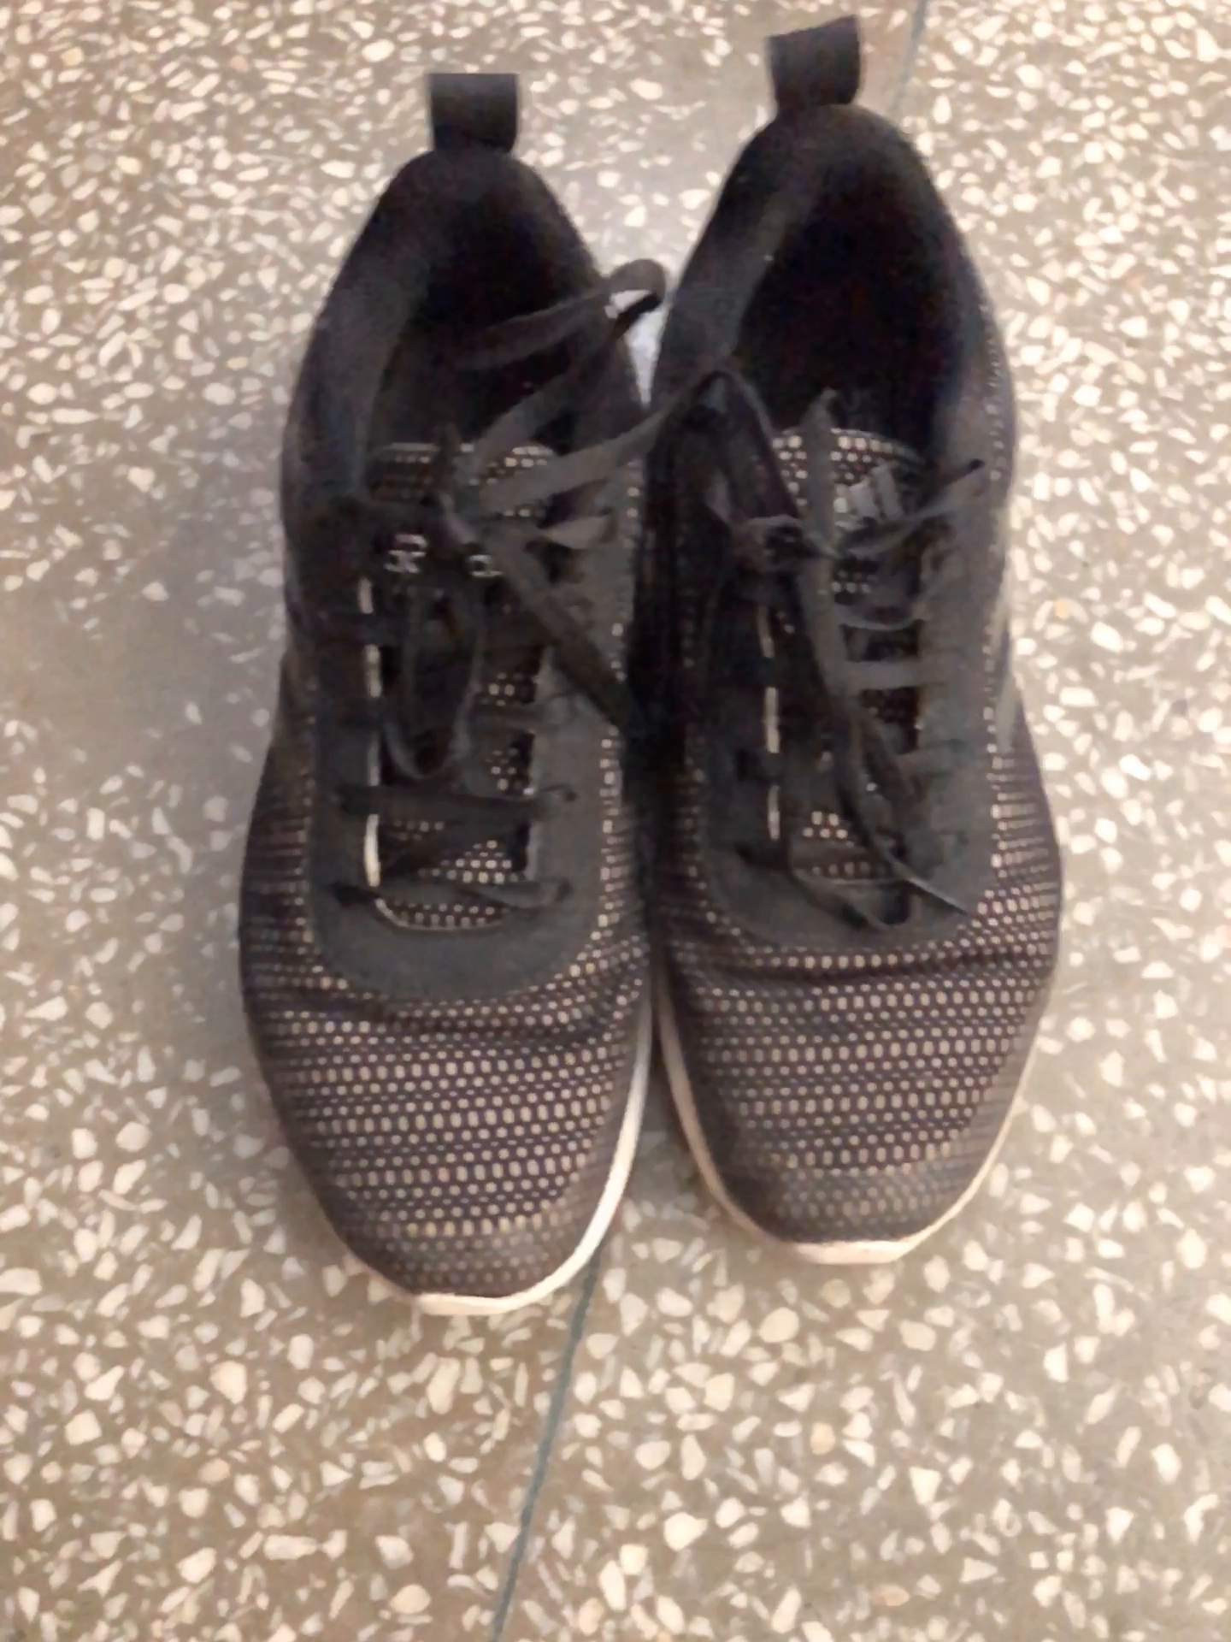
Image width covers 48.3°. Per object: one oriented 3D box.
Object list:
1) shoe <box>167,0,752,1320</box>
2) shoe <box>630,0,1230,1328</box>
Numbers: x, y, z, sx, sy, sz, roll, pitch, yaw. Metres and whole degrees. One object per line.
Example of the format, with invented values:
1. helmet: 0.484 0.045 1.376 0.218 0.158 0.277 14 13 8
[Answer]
1. shoe: -0.033 -0.041 0.311 0.100 0.080 0.280 -2 74 0
2. shoe: 0.054 -0.037 0.298 0.100 0.080 0.270 0 74 0
